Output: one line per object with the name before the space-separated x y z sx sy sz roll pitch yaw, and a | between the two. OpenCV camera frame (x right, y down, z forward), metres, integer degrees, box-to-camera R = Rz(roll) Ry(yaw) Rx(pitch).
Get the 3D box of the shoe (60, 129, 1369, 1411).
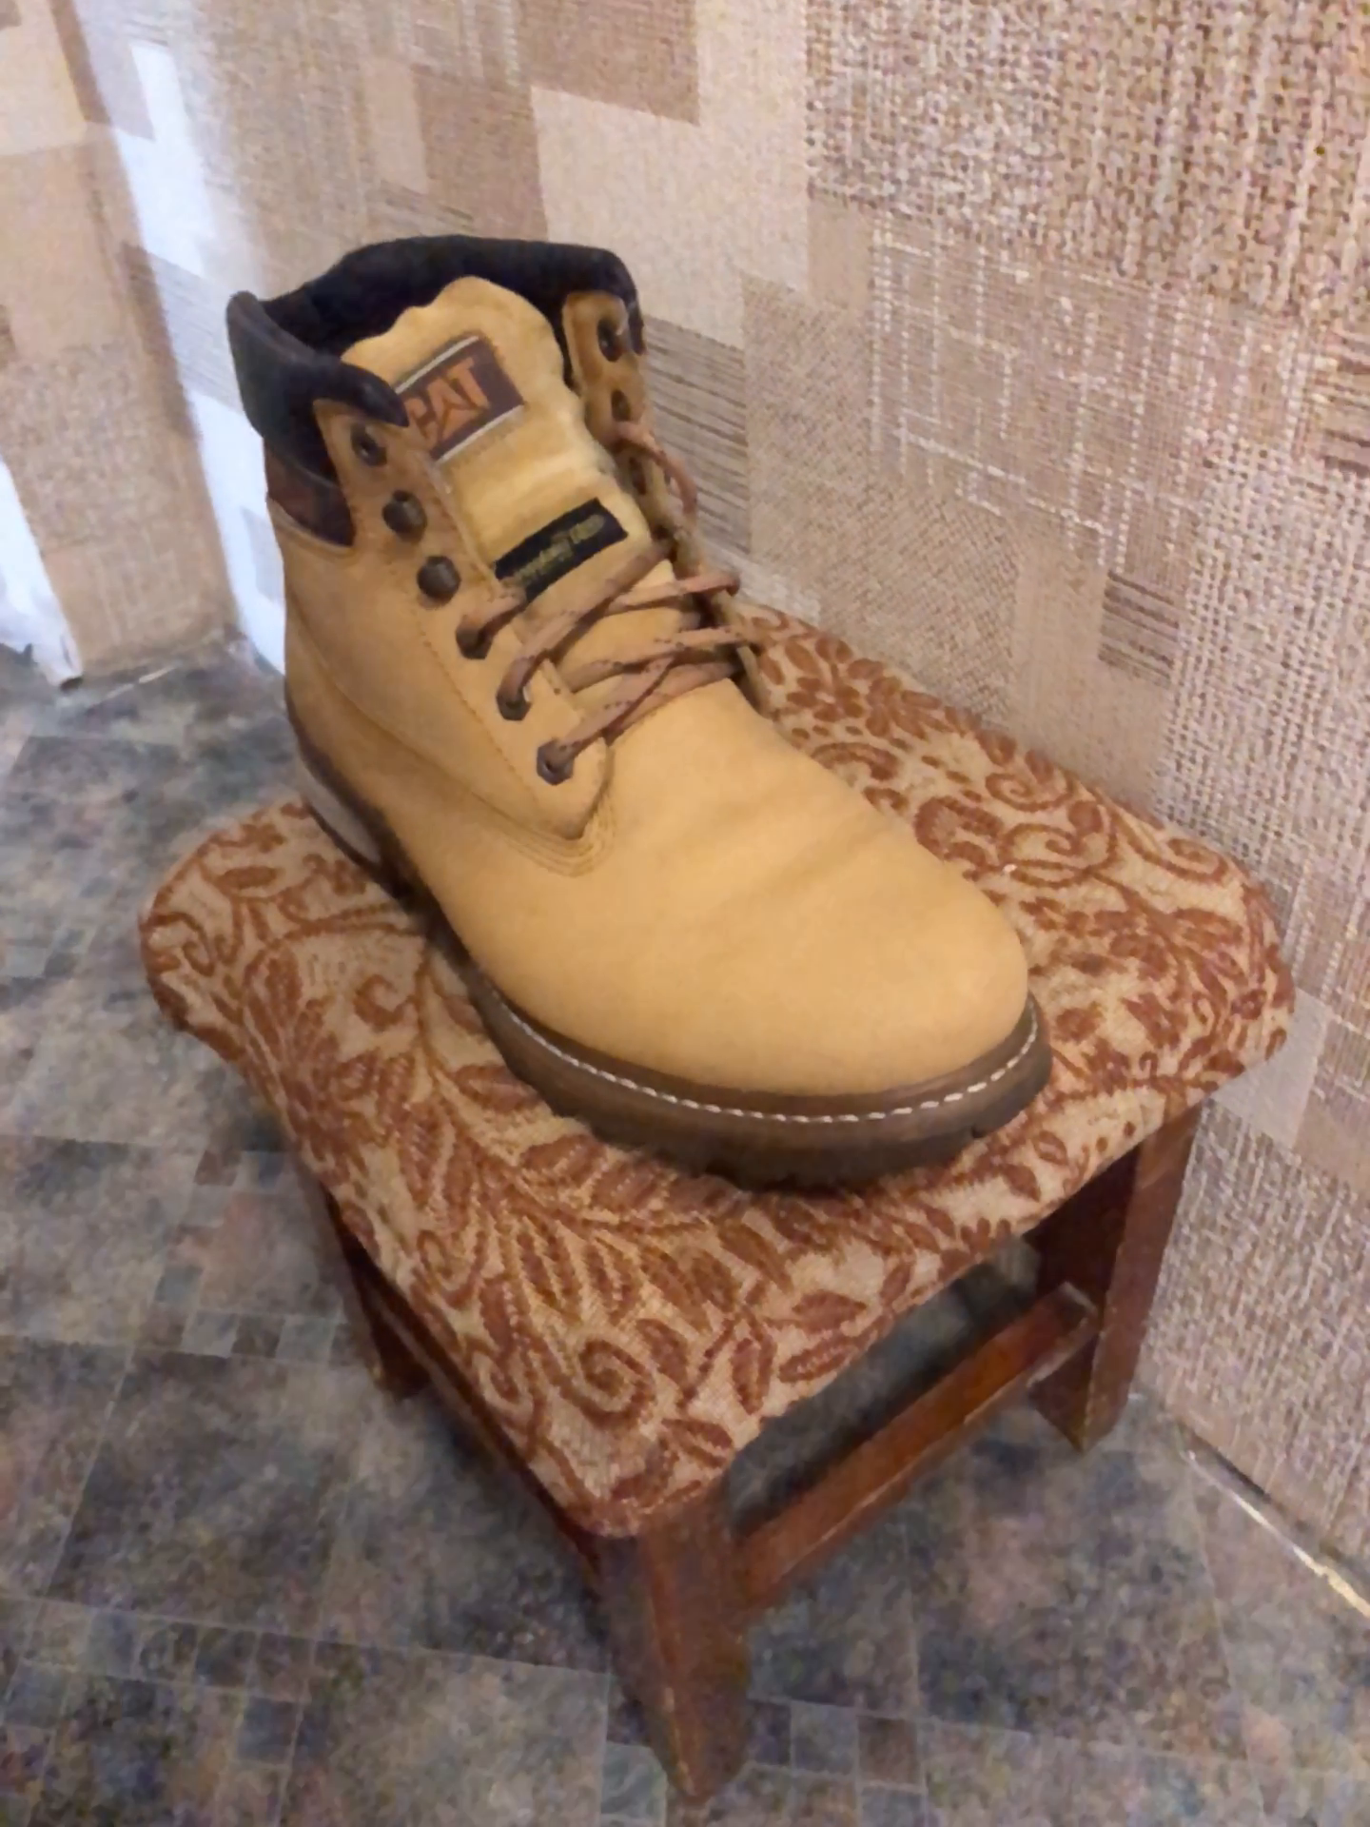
shoe | -0.007 -0.065 0.405 0.140 0.189 0.311 -31 48 -28
